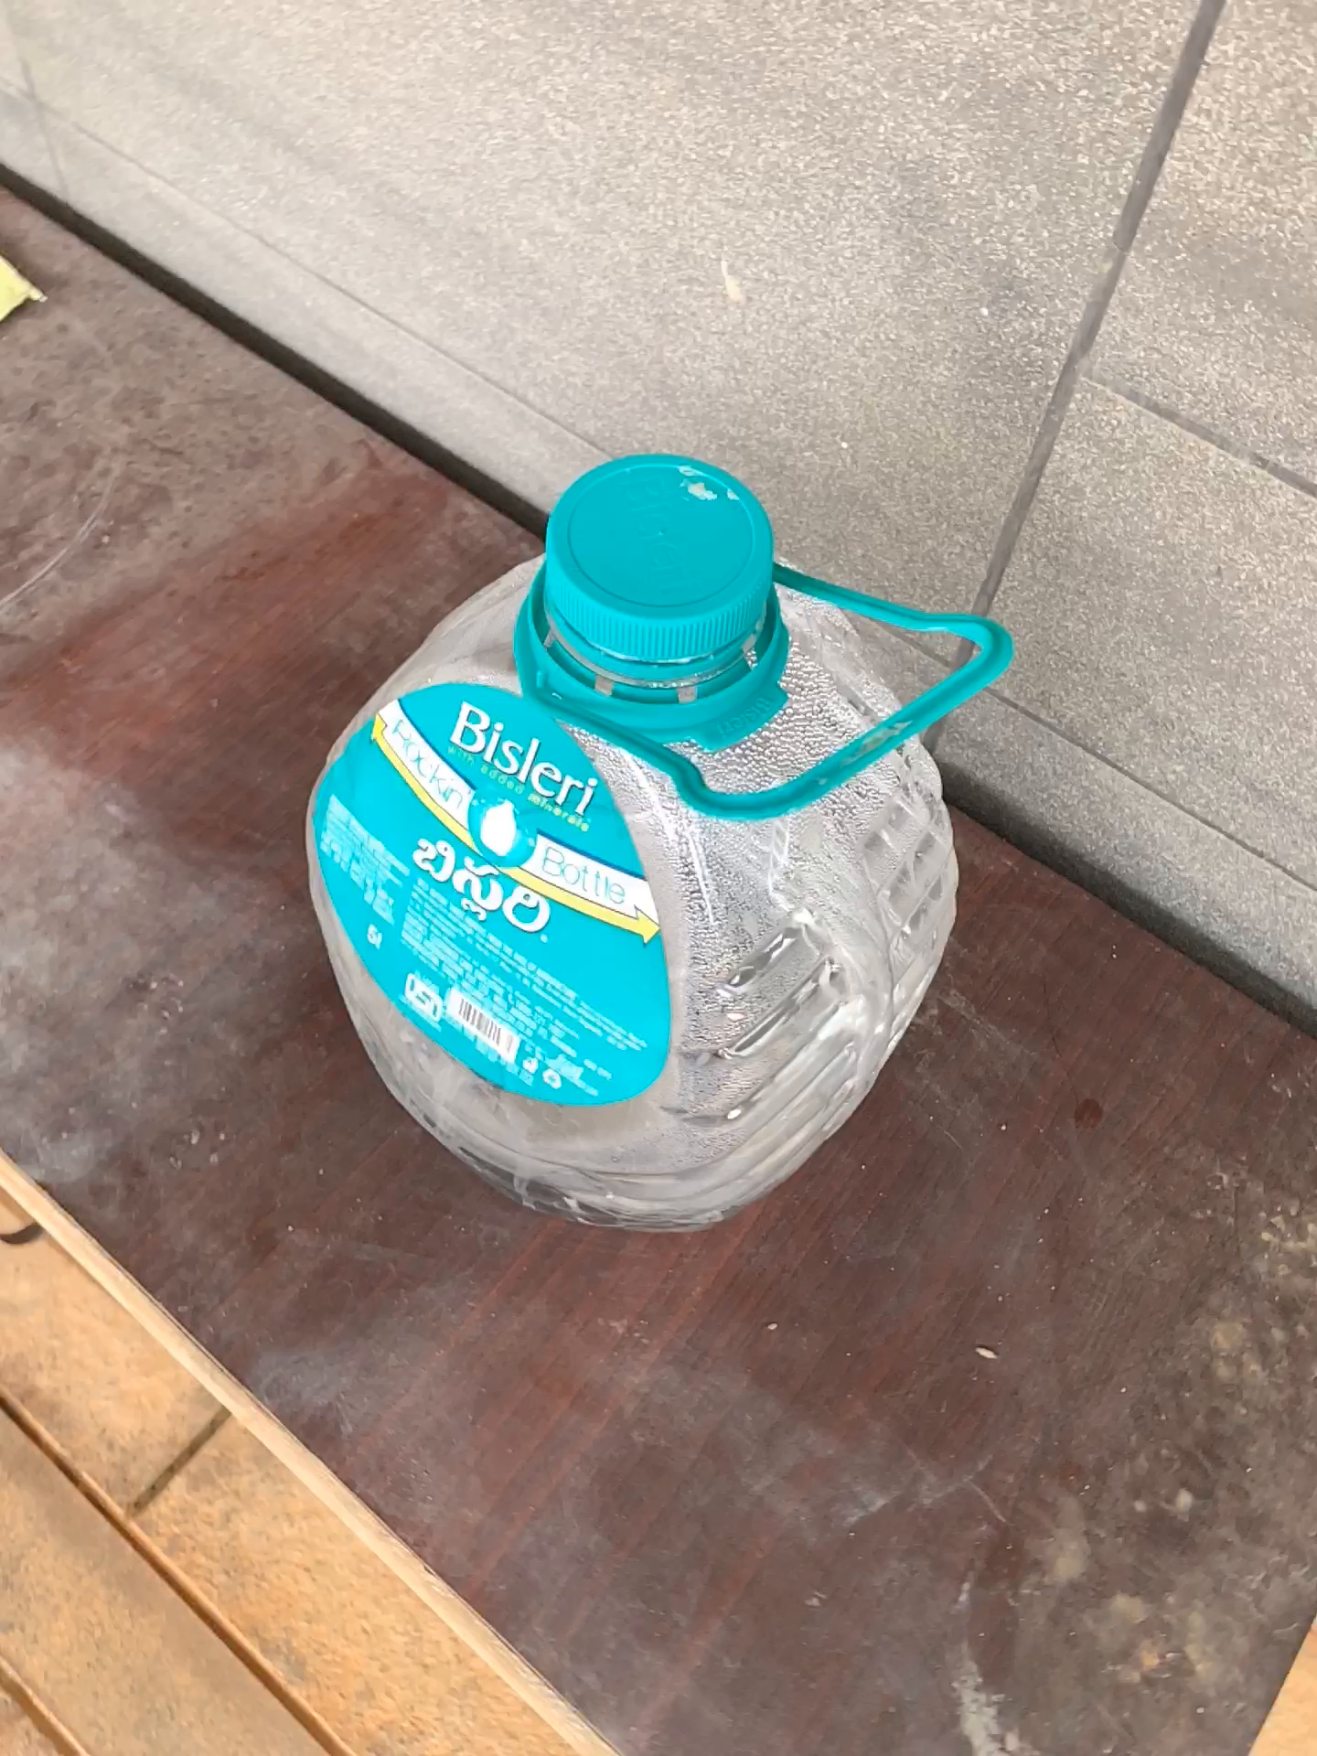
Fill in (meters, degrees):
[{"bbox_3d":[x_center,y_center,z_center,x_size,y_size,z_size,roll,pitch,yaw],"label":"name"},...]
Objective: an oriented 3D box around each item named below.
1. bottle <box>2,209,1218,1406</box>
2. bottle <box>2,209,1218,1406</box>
[{"bbox_3d":[-0.014,-0.011,0.392,0.200,0.220,0.180,37,62,18],"label":"bottle"},{"bbox_3d":[-0.014,-0.011,0.392,0.200,0.220,0.180,37,62,18],"label":"bottle"}]
